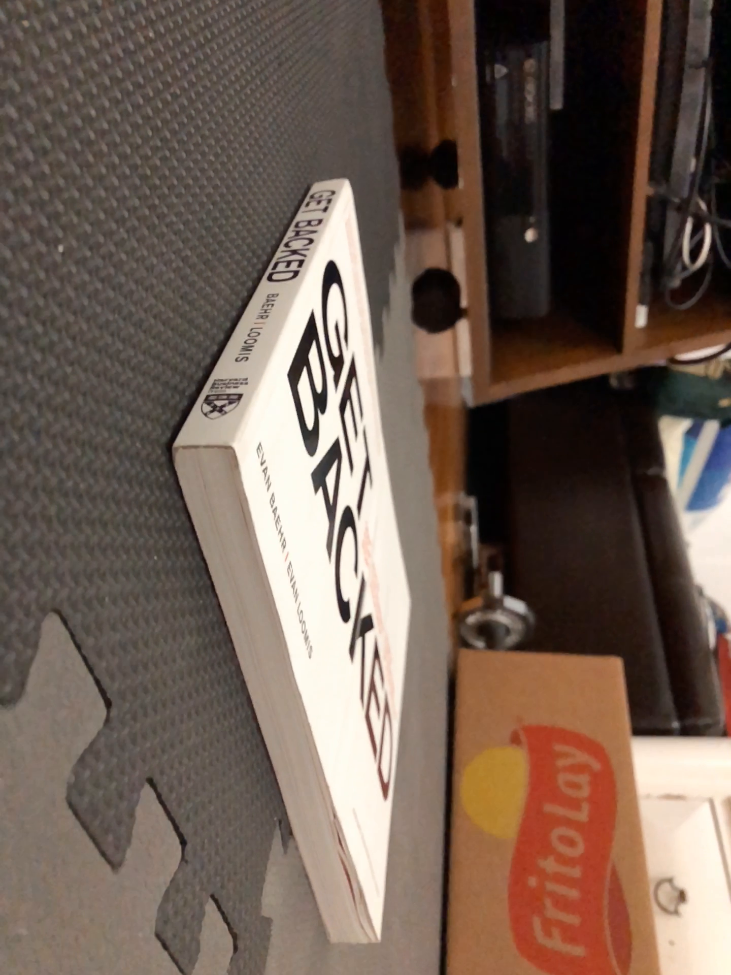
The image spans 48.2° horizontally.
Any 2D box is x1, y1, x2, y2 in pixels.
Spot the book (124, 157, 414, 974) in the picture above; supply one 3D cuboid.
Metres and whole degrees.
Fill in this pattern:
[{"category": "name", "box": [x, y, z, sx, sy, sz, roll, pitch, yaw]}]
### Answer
[{"category": "book", "box": [-0.011, 0.032, 0.331, 0.211, 0.020, 0.260, -78, 163, -51]}]
